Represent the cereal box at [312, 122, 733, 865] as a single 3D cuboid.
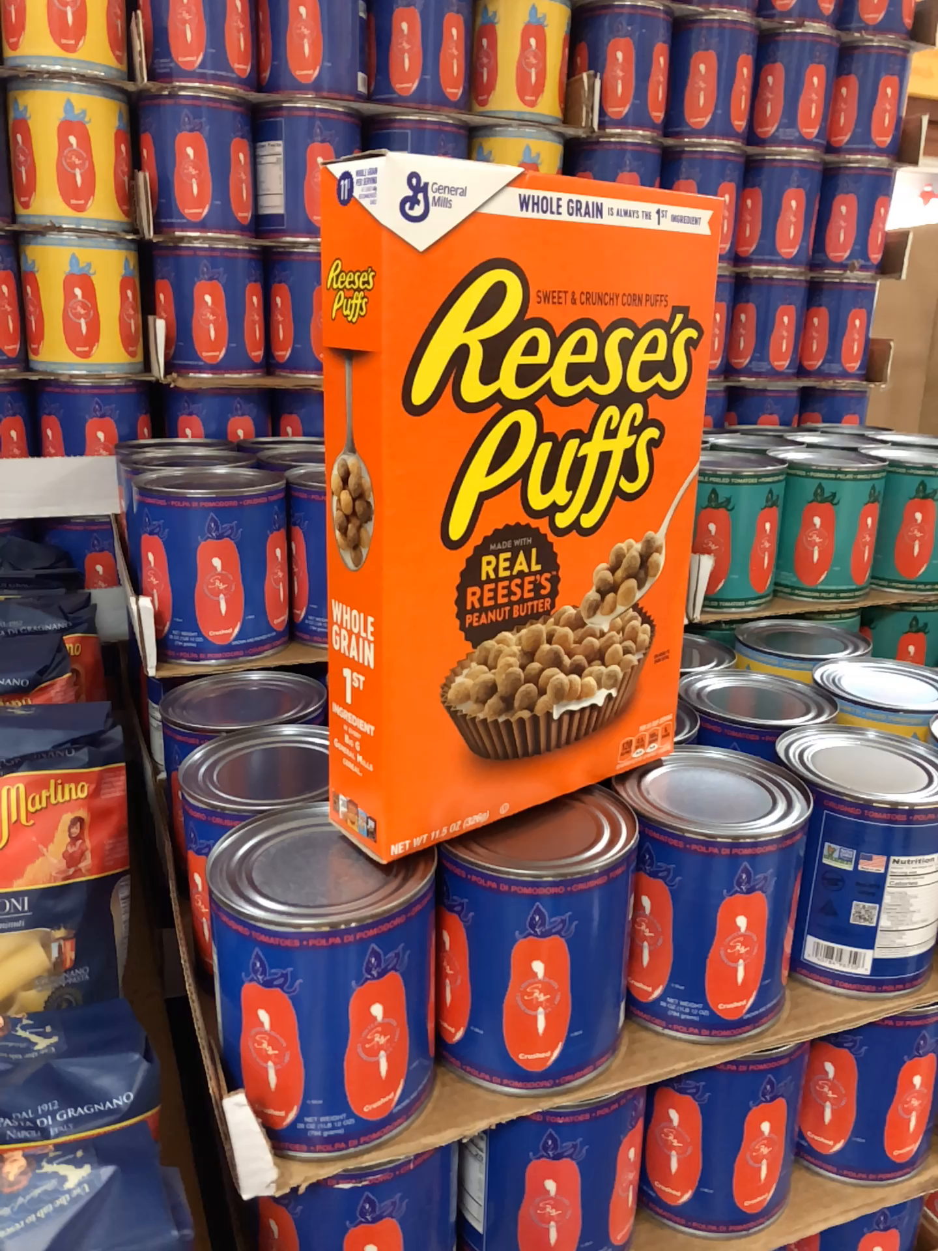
[{"bbox_3d":[0.028,-0.060,0.479,0.201,0.288,0.050,-13,22,-39],"label":"cereal box"}]
